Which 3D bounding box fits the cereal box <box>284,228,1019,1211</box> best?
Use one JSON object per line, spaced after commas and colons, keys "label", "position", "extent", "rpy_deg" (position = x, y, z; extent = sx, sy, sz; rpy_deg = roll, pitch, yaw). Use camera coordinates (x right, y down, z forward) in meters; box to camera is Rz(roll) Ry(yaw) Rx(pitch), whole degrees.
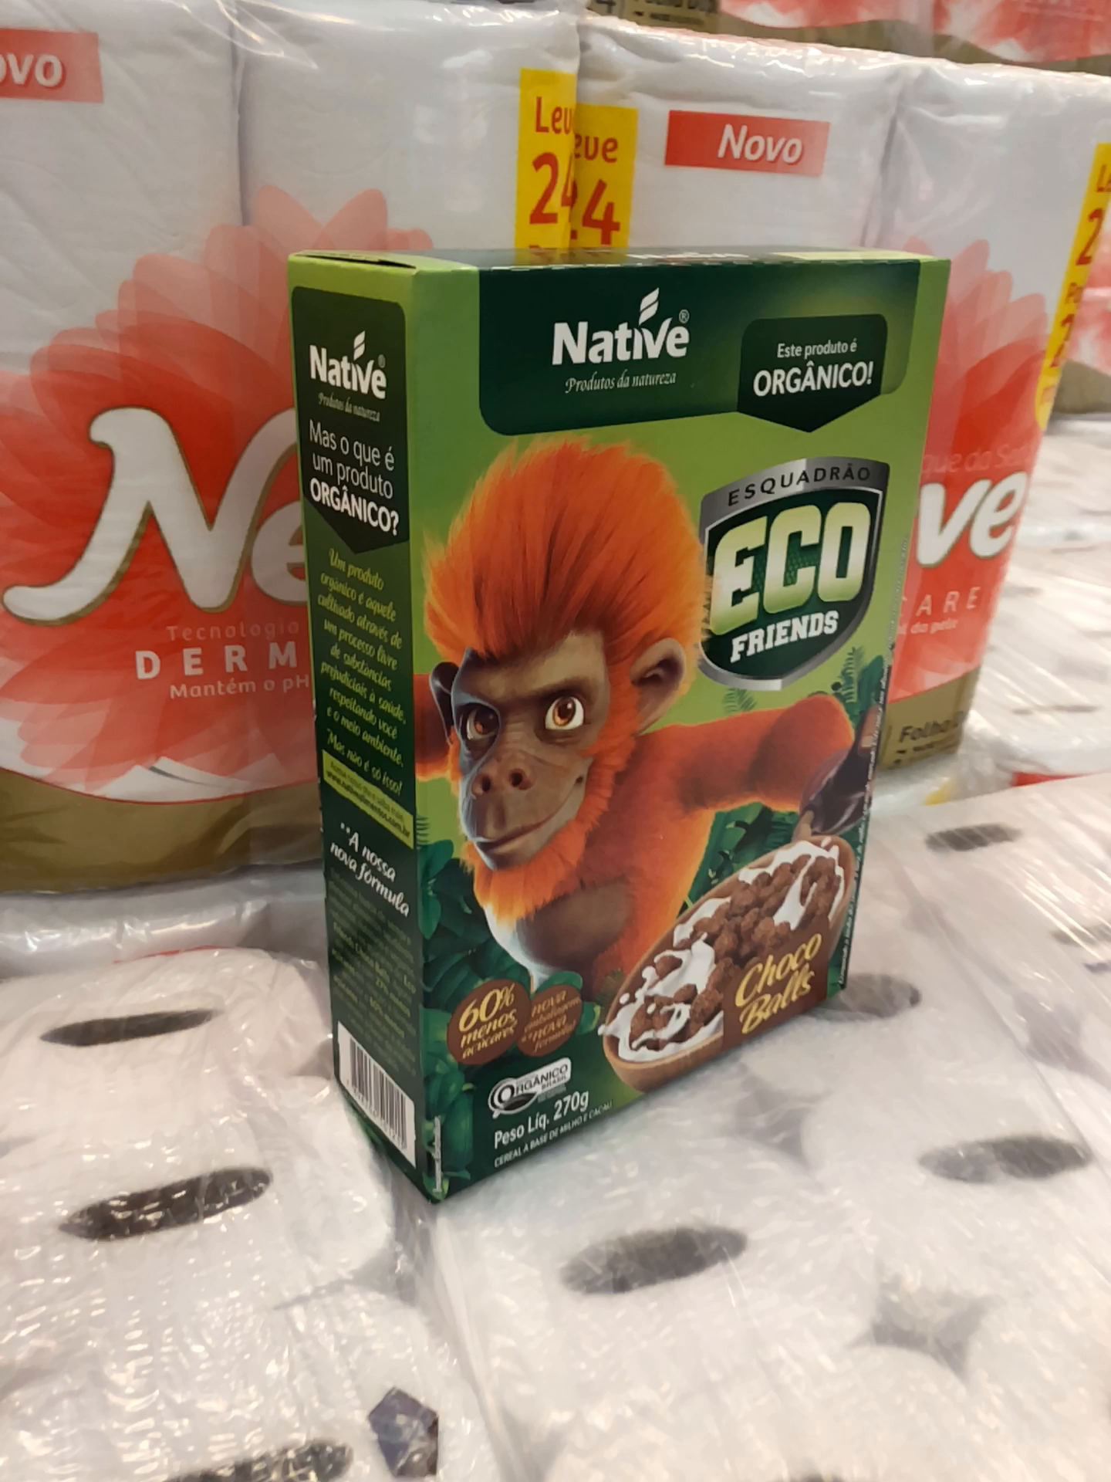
{"label": "cereal box", "position": [0.029, -0.016, 0.339], "extent": [0.181, 0.228, 0.060], "rpy_deg": [-15, 28, -34]}
